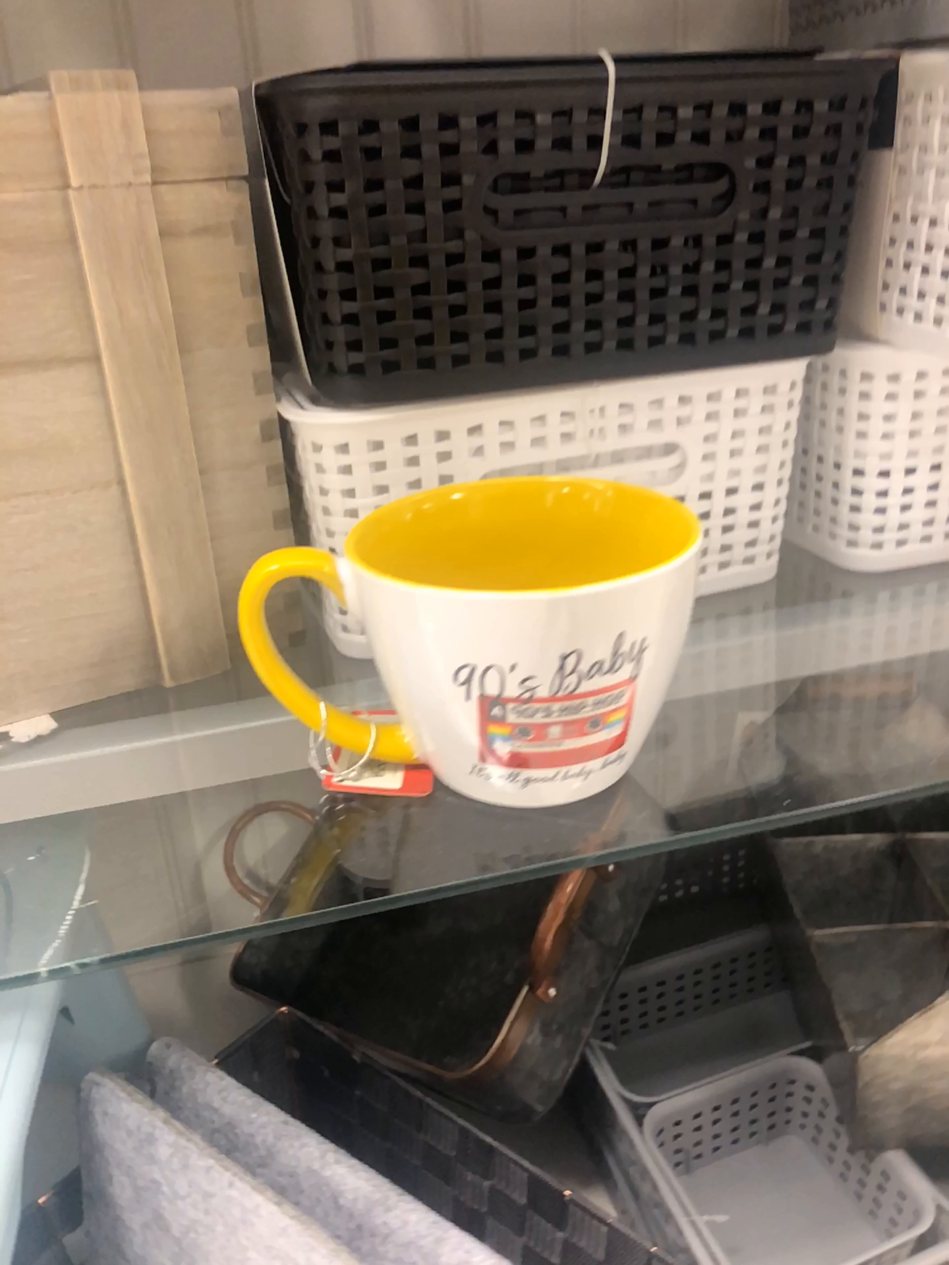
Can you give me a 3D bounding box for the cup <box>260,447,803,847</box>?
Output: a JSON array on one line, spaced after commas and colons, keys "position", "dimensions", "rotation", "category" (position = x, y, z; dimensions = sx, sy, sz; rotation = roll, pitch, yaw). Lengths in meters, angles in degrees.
[{"position": [0.010, -0.005, 0.376], "dimensions": [0.156, 0.076, 0.127], "rotation": [-7, 27, -12], "category": "cup"}]
